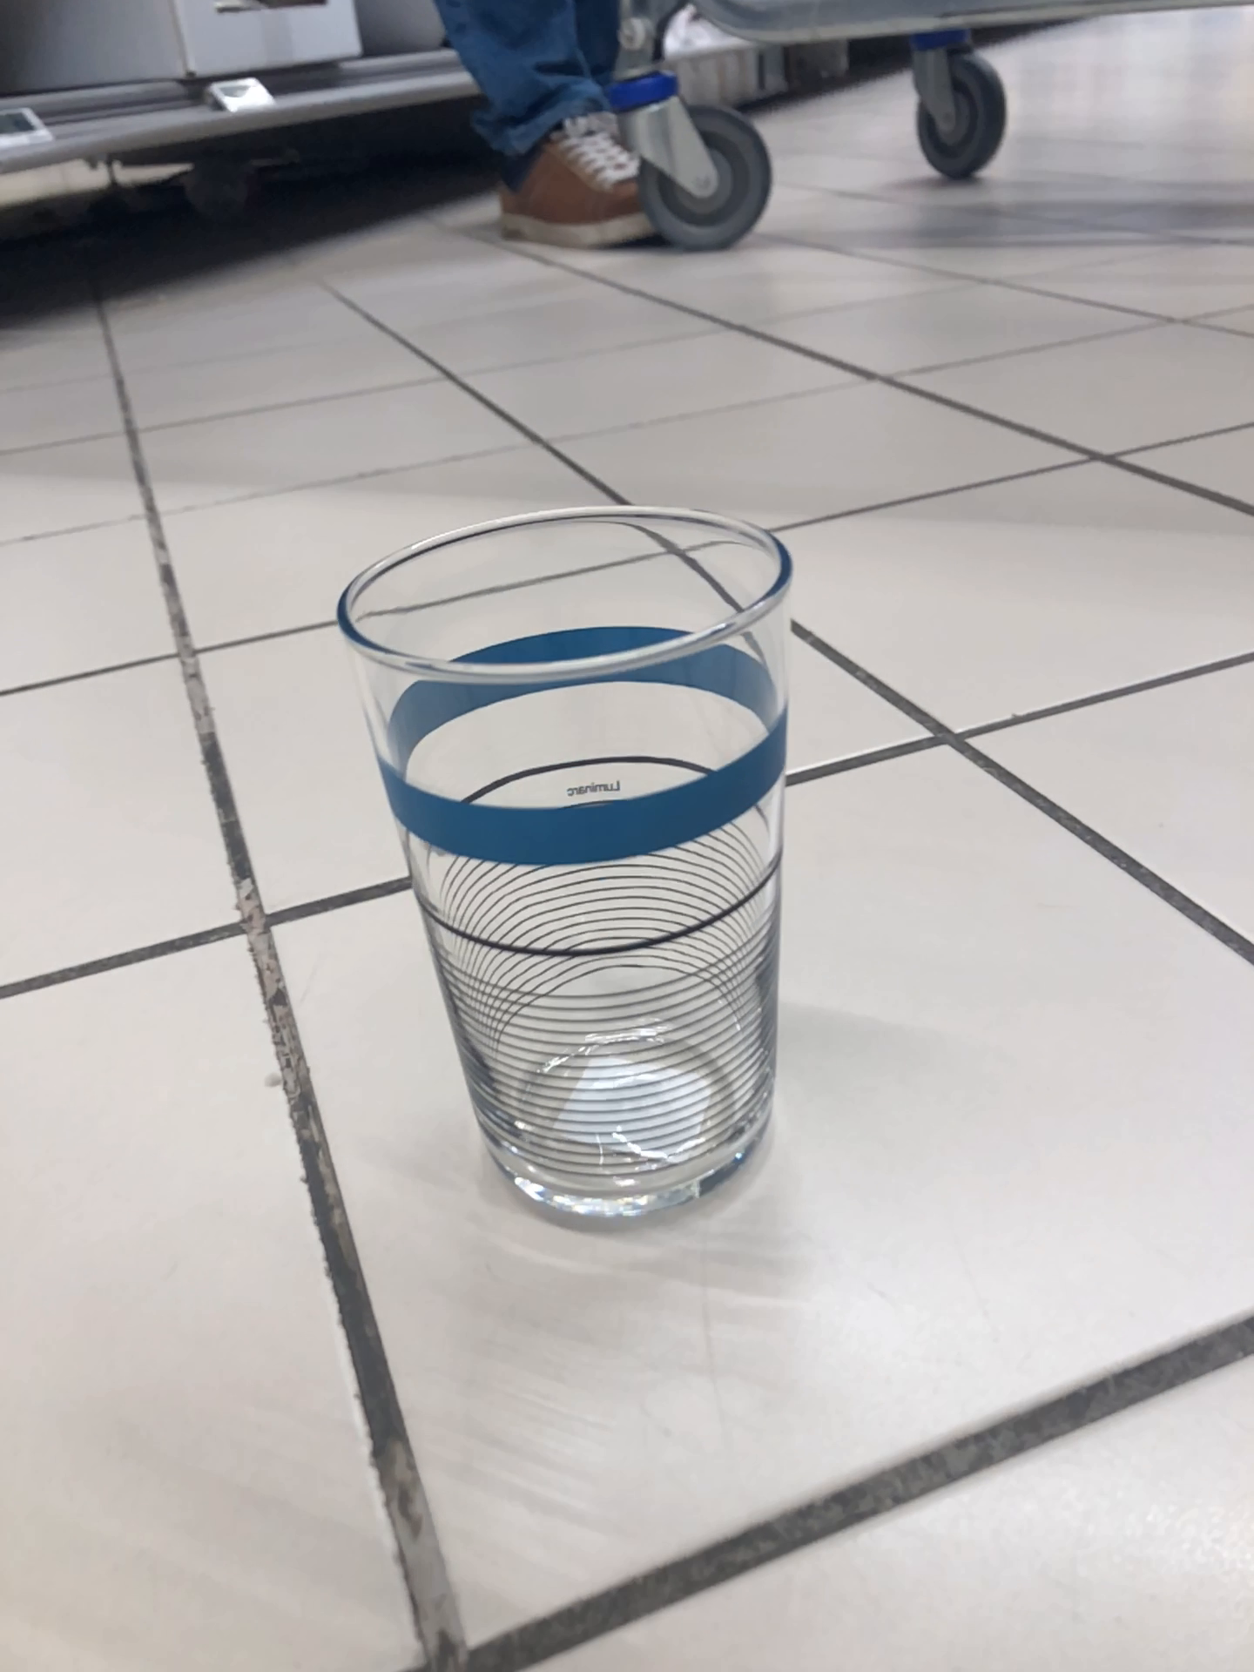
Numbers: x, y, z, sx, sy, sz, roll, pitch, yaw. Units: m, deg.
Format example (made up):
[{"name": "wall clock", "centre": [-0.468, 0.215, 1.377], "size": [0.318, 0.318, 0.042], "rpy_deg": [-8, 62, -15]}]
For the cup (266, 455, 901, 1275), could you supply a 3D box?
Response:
[{"name": "cup", "centre": [-0.007, 0.000, 0.244], "size": [0.079, 0.102, 0.080], "rpy_deg": [-5, 30, 3]}]
